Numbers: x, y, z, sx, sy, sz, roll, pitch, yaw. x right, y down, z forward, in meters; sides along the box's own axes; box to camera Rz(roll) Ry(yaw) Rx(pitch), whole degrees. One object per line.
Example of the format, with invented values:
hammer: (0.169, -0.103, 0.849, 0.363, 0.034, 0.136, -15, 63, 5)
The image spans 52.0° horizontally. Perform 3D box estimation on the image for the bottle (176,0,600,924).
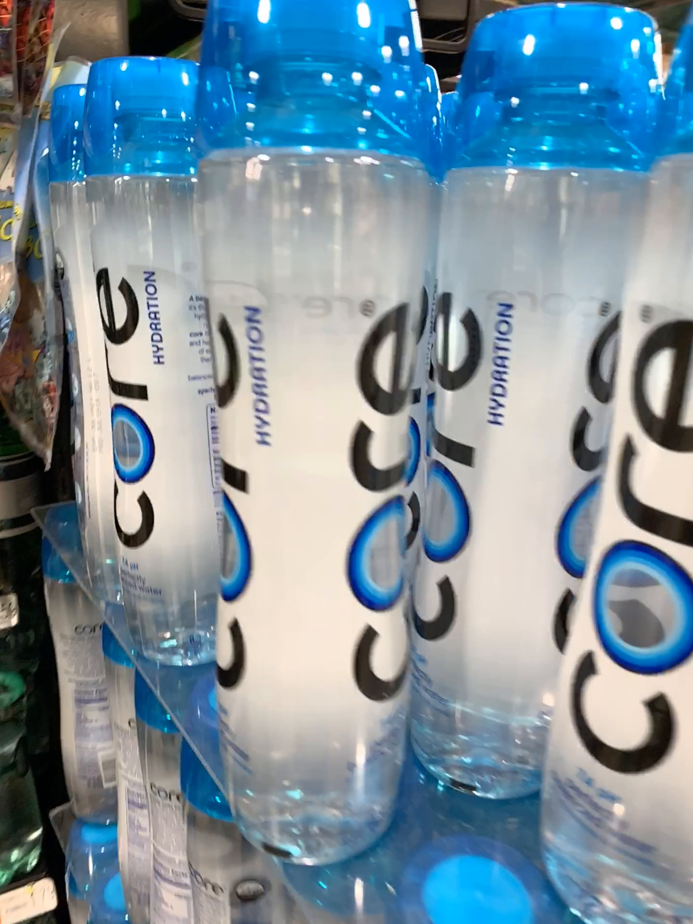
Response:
bottle: (0.002, 0.004, 0.239, 0.090, 0.289, 0.080, -6, 19, -25)
